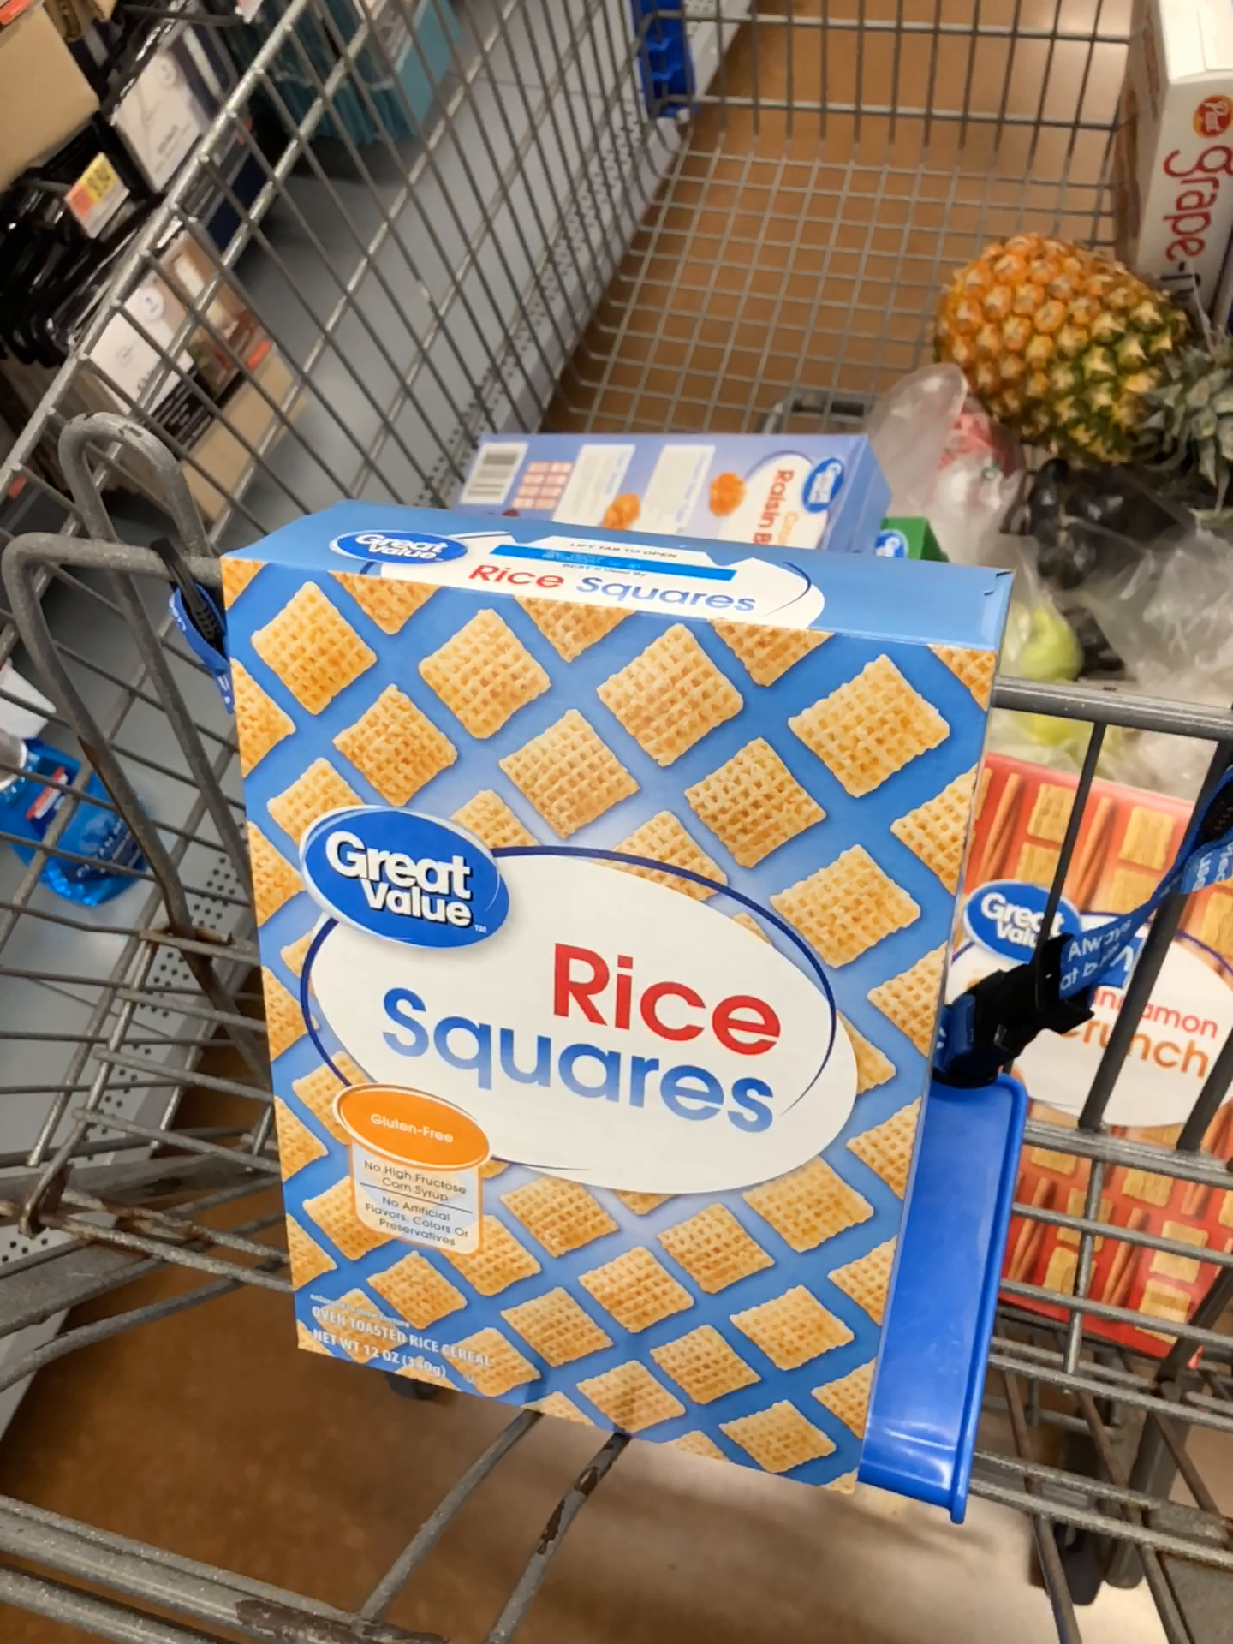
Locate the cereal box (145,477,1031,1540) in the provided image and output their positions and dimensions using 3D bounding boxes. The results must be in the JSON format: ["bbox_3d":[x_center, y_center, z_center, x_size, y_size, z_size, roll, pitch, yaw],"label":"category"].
[{"bbox_3d":[-0.009,0.056,0.407,0.210,0.280,0.080,9,27,14],"label":"cereal box"}]
